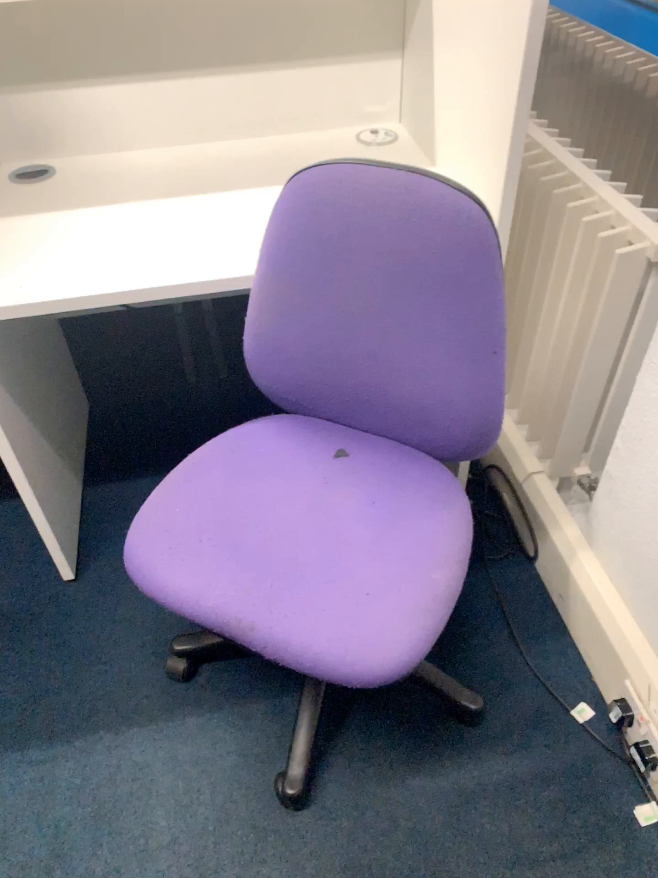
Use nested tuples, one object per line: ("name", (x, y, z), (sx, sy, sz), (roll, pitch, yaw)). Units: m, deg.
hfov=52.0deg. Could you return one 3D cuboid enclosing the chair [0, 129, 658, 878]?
("chair", (0.002, 0.105, 1.087), (0.691, 0.862, 0.655), (18, 47, 20))
